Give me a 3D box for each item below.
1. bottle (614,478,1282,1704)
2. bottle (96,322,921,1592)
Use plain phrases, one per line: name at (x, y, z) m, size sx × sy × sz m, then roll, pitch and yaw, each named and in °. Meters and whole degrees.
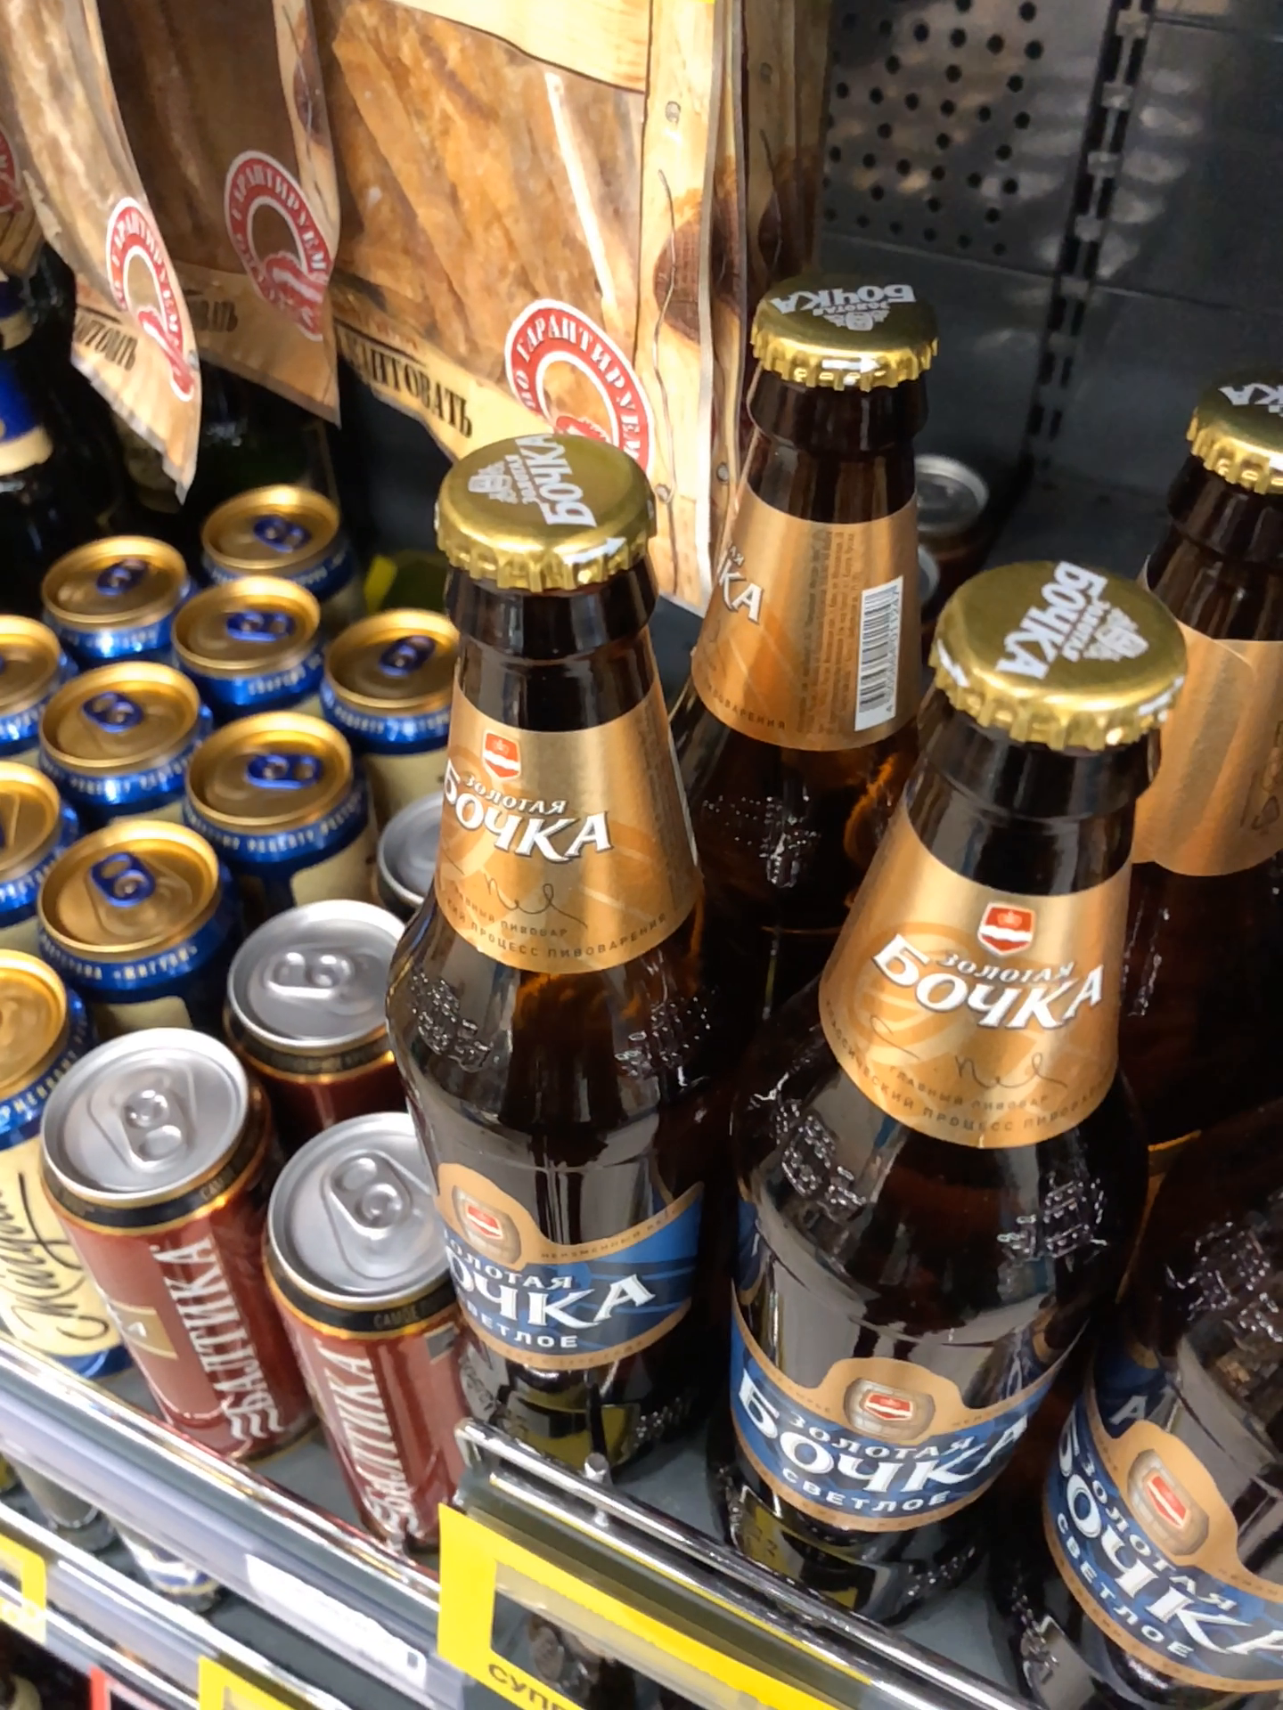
bottle at (0.039, 0.063, 0.230) m, size 0.070 × 0.234 × 0.060 m, roll 9°, pitch 46°, yaw 9°
bottle at (-0.014, 0.040, 0.255) m, size 0.070 × 0.234 × 0.070 m, roll 0°, pitch 46°, yaw 0°
